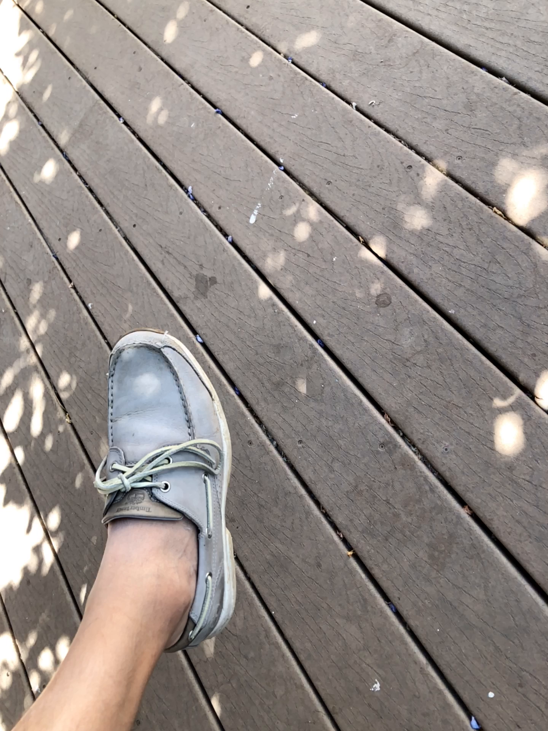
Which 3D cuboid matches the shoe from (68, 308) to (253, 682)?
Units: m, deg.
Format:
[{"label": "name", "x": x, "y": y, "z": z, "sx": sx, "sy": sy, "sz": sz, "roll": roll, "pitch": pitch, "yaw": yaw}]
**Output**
[{"label": "shoe", "x": -0.108, "y": 0.113, "z": 0.564, "sx": 0.115, "sy": 0.085, "sz": 0.306, "roll": -11, "pitch": 81, "yaw": 29}]
